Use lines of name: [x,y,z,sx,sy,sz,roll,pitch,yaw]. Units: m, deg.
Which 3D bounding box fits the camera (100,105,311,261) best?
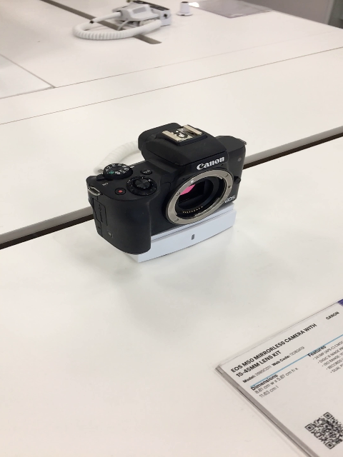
camera: [0.026,-0.037,0.346,0.130,0.075,0.057,-25,52,-24]
